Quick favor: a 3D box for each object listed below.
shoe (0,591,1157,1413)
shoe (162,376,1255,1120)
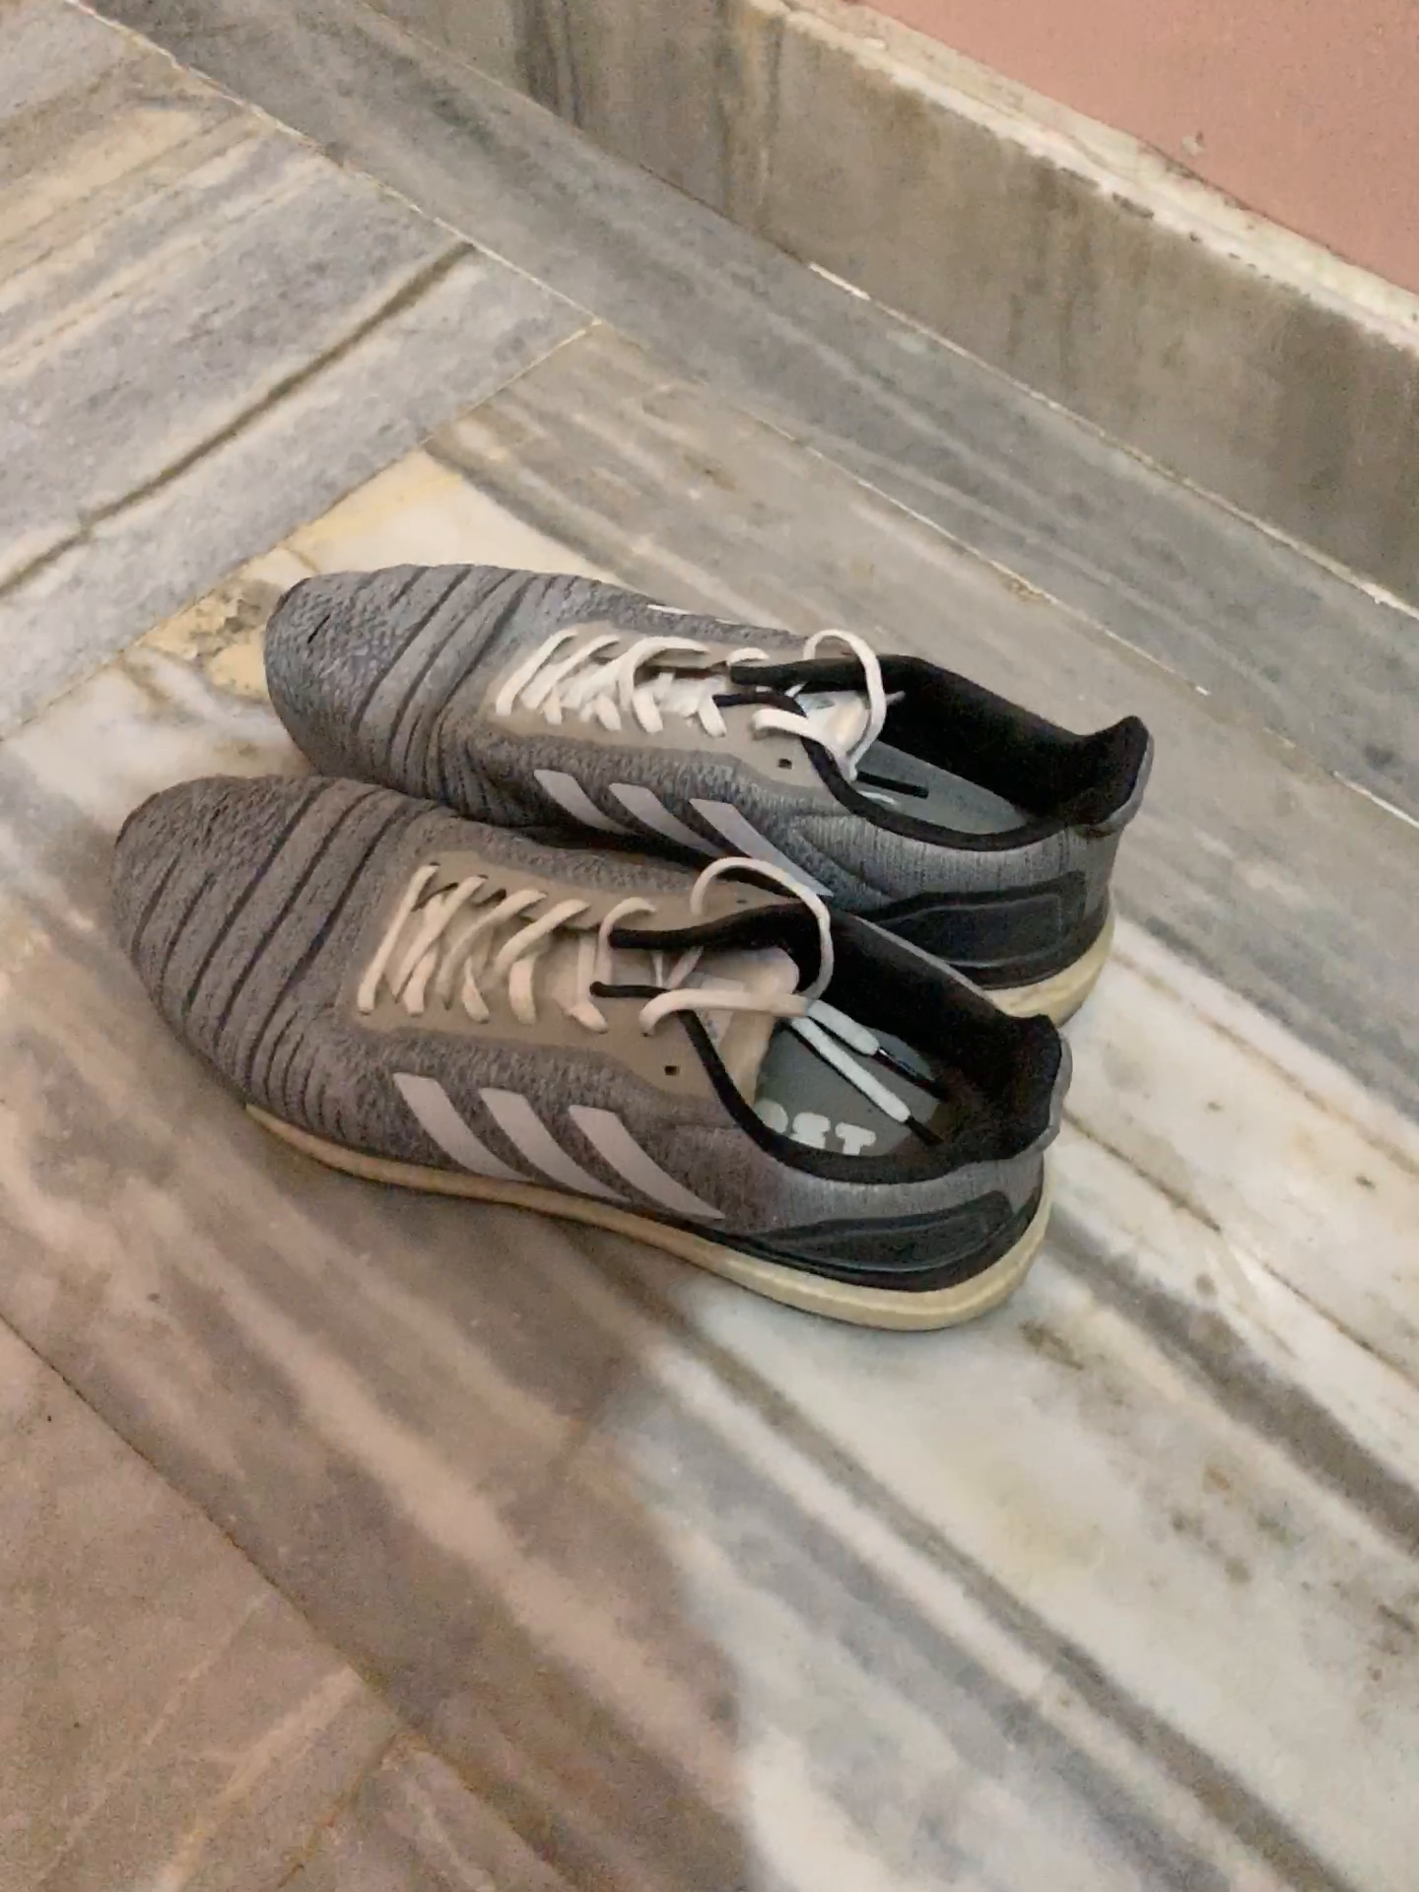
[{"bbox_3d":[-0.041,0.015,0.425,0.300,0.090,0.120,19,60,5],"label":"shoe"},{"bbox_3d":[-0.001,-0.067,0.468,0.310,0.080,0.110,22,61,7],"label":"shoe"}]
